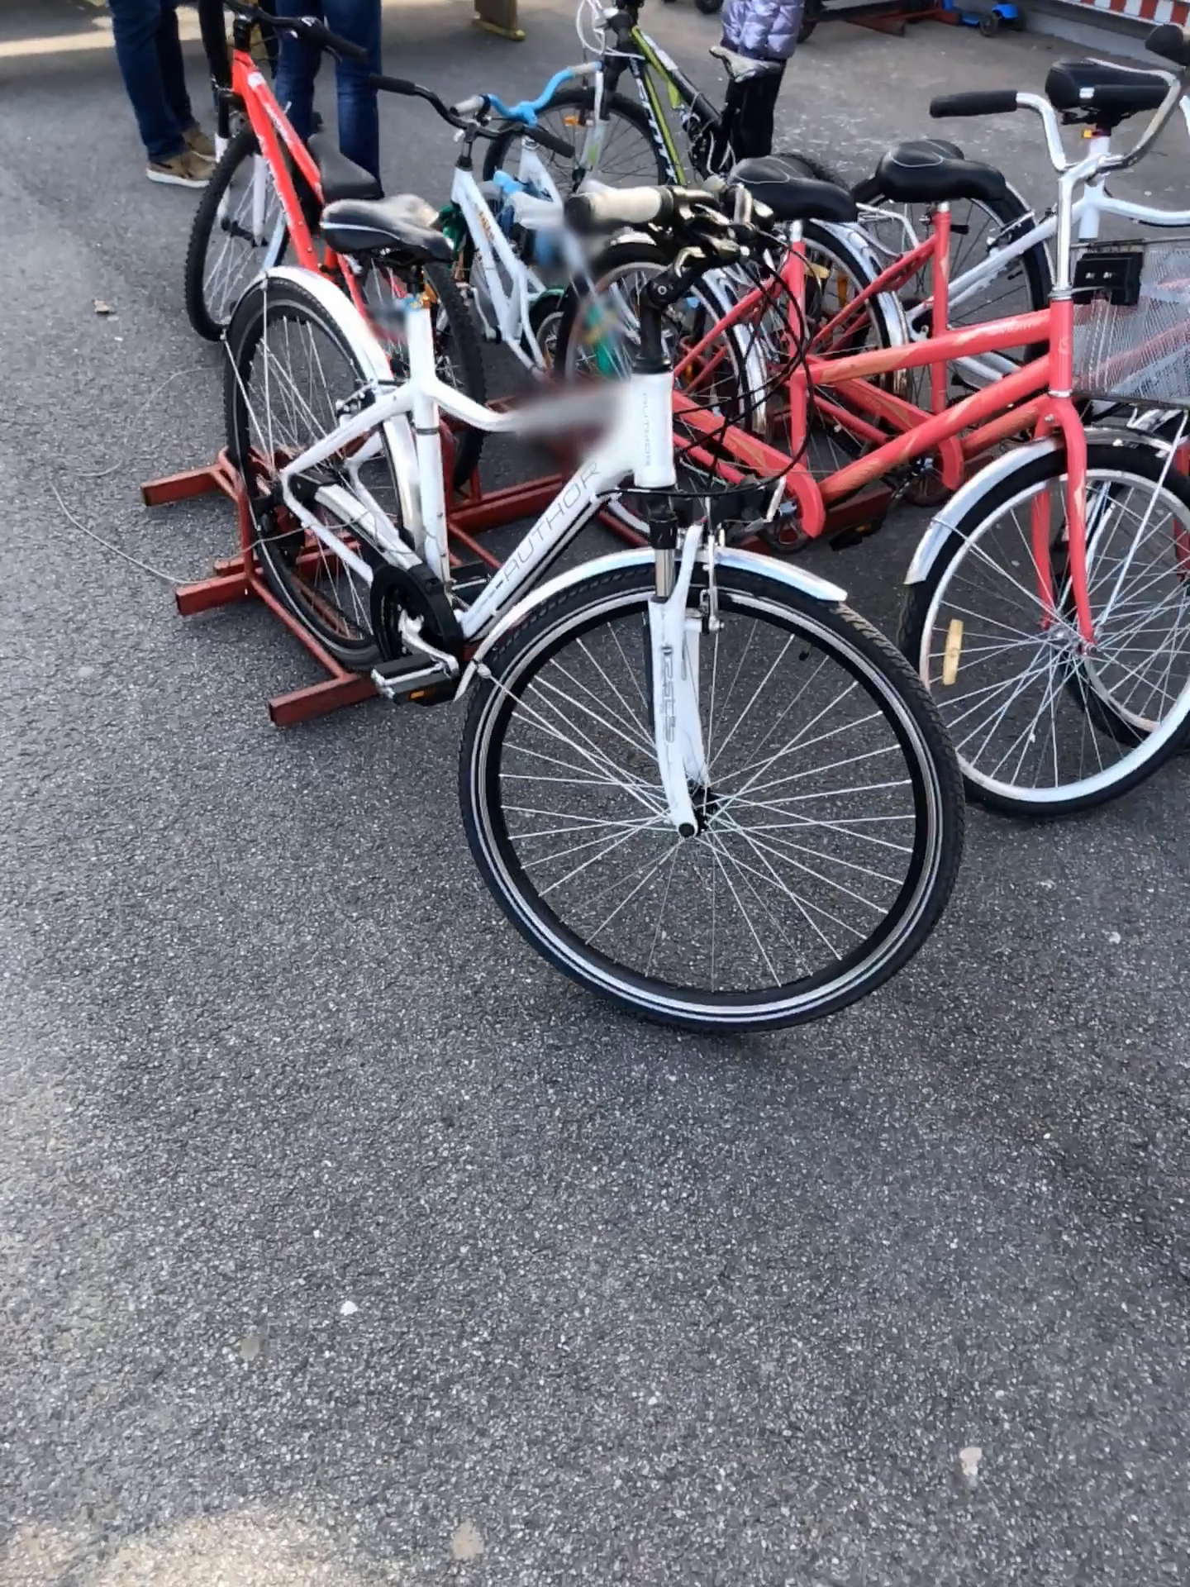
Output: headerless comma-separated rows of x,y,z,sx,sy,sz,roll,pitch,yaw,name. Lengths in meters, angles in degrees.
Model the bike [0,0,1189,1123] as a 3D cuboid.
-0.083,-0.505,1.998,0.646,1.112,1.702,-32,51,-32,bike
